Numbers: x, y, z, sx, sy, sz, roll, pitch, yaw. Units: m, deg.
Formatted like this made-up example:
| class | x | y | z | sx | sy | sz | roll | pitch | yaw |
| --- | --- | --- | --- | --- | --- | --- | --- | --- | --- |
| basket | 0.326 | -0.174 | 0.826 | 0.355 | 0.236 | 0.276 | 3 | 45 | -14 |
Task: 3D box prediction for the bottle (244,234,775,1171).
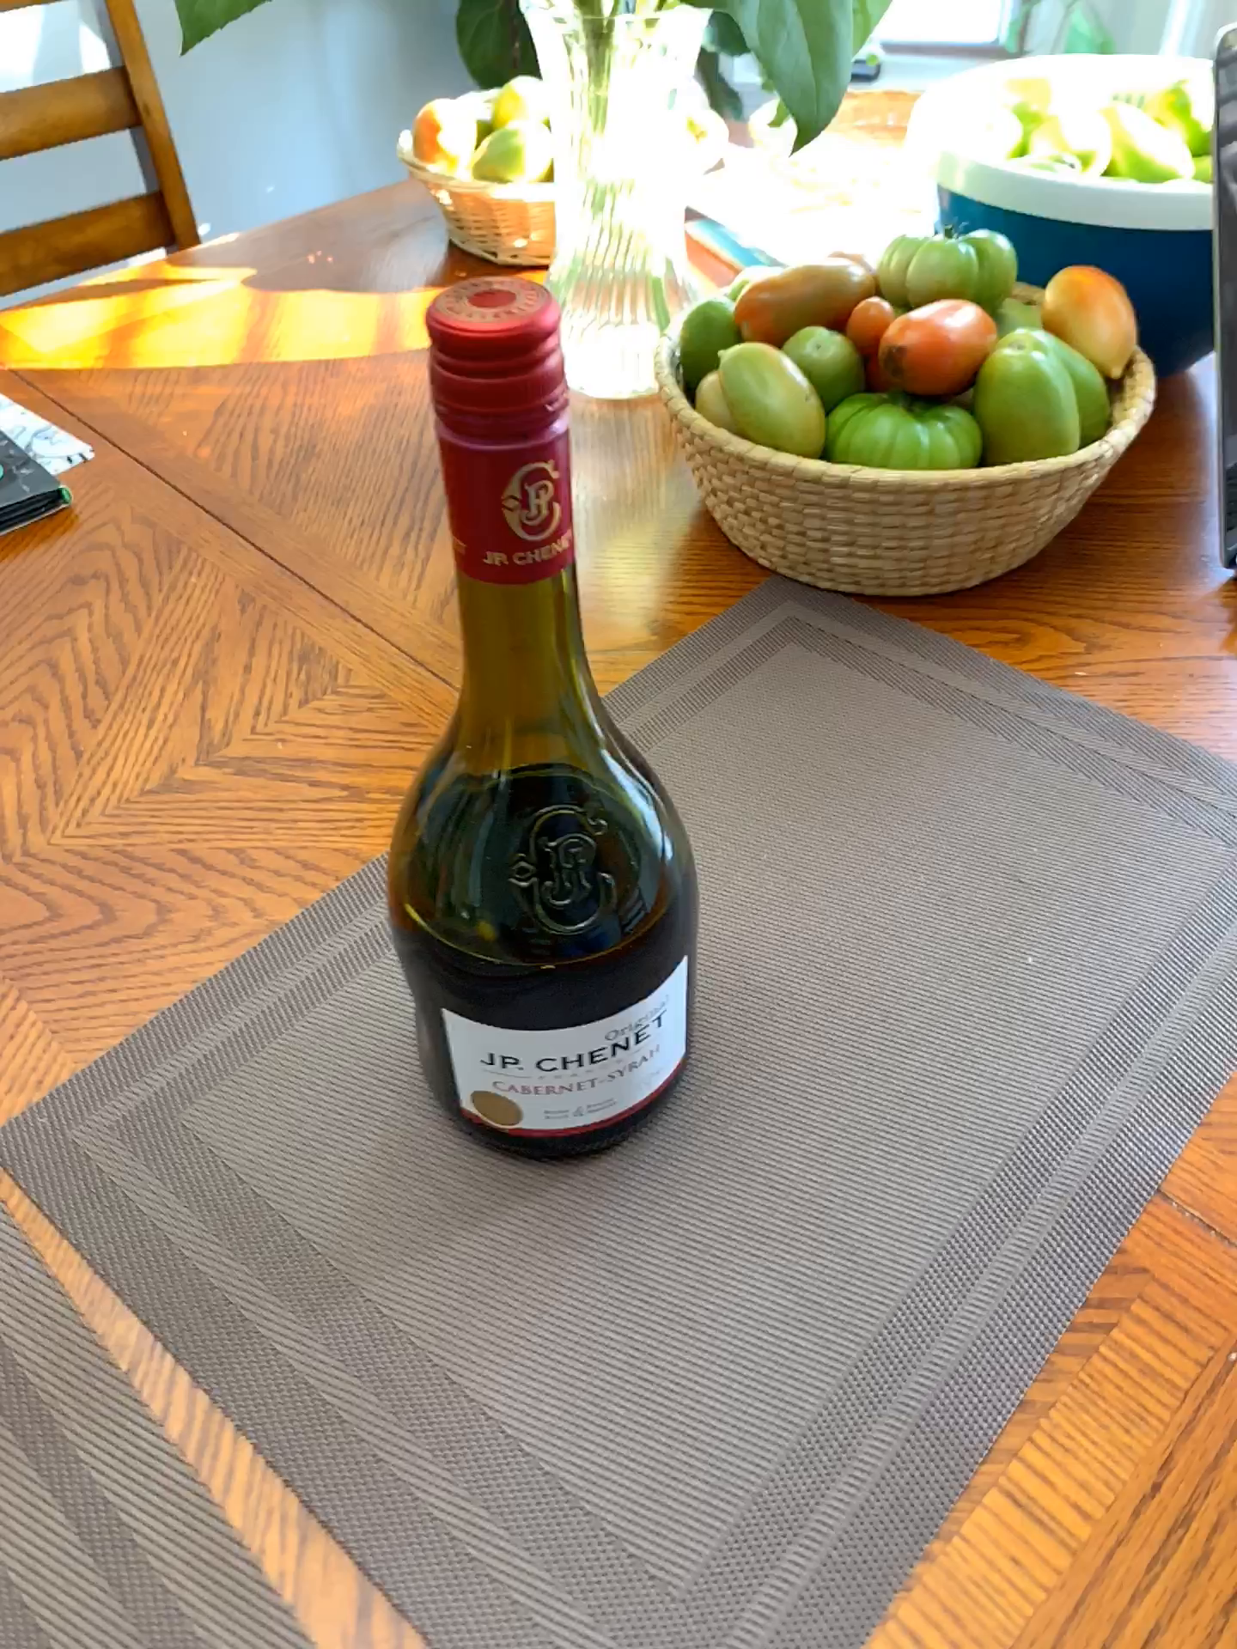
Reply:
| class | x | y | z | sx | sy | sz | roll | pitch | yaw |
| --- | --- | --- | --- | --- | --- | --- | --- | --- | --- |
| bottle | -0.022 | -0.016 | 0.365 | 0.100 | 0.258 | 0.101 | 0 | 44 | 0 |
